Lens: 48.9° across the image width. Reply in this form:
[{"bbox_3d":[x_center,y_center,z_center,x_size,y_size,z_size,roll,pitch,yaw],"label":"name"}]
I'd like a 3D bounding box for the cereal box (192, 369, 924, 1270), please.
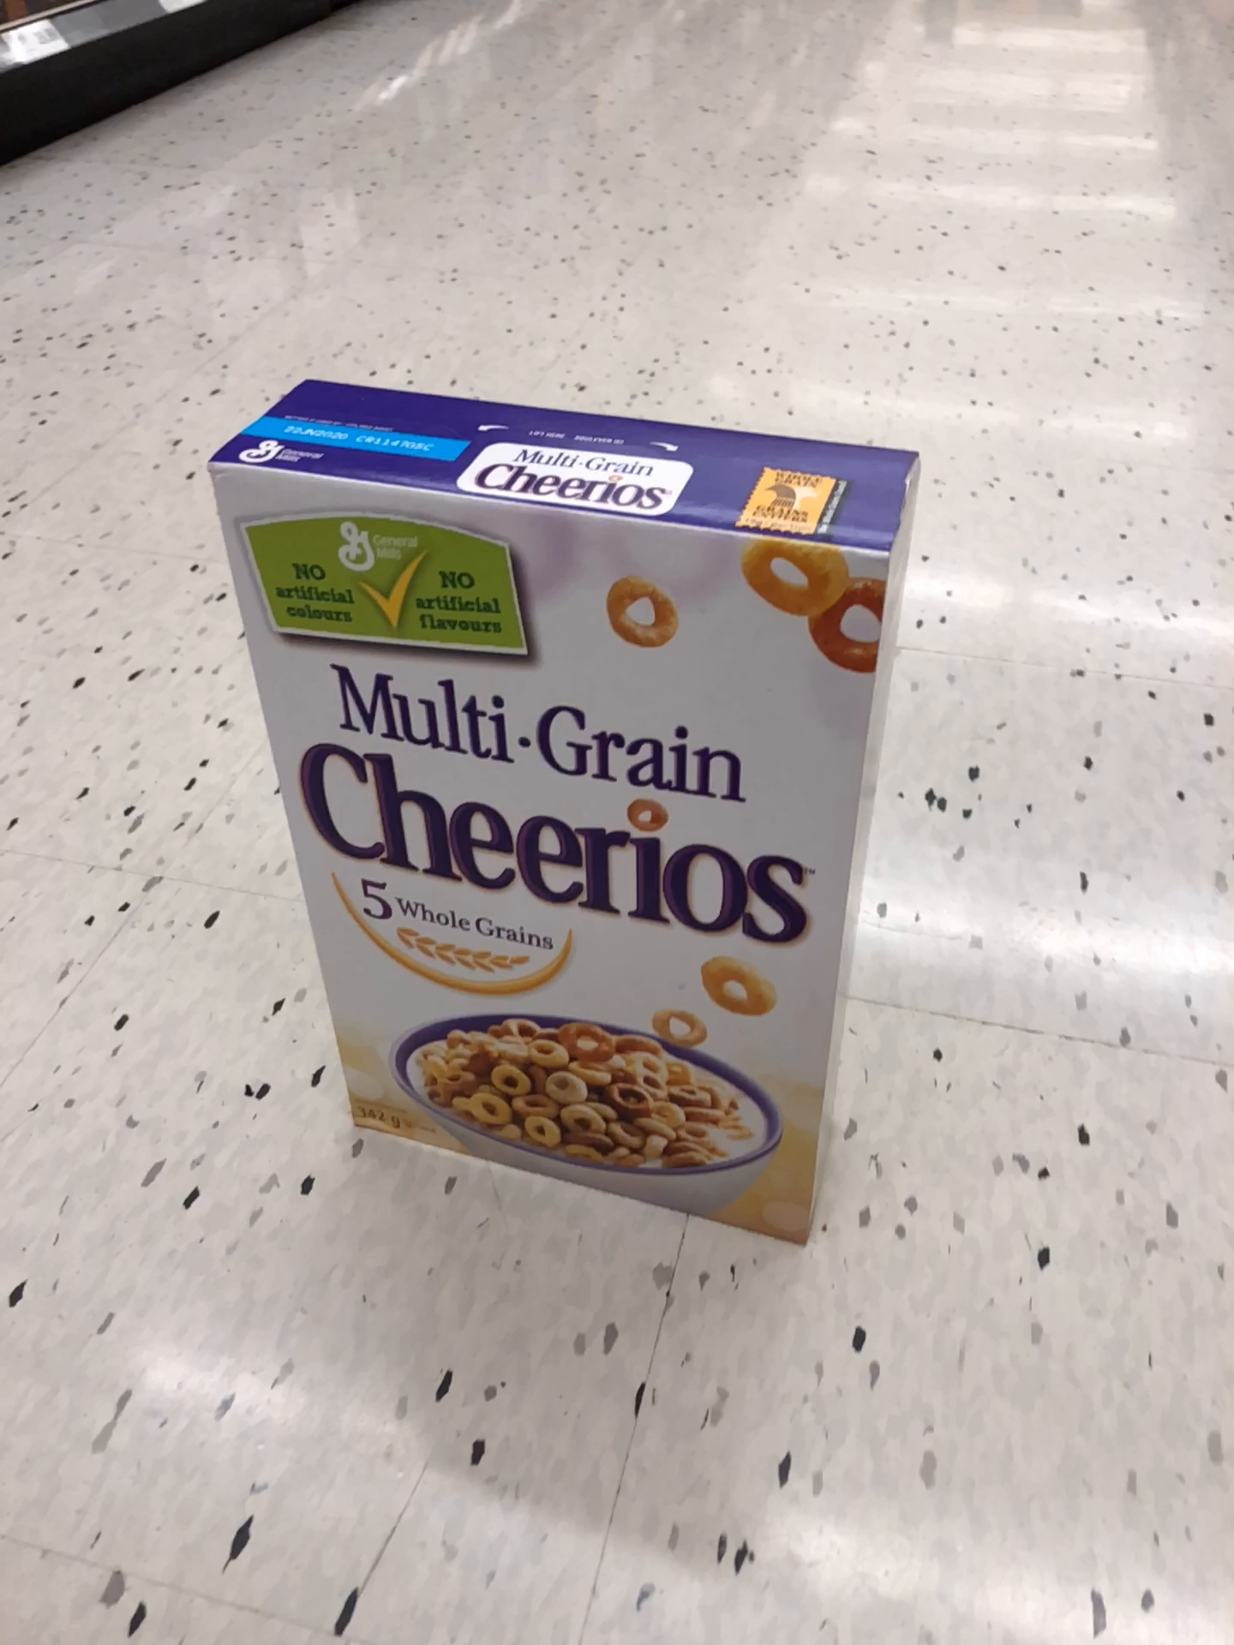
[{"bbox_3d":[-0.015,0.017,0.467,0.190,0.308,0.060,11,41,14],"label":"cereal box"}]
